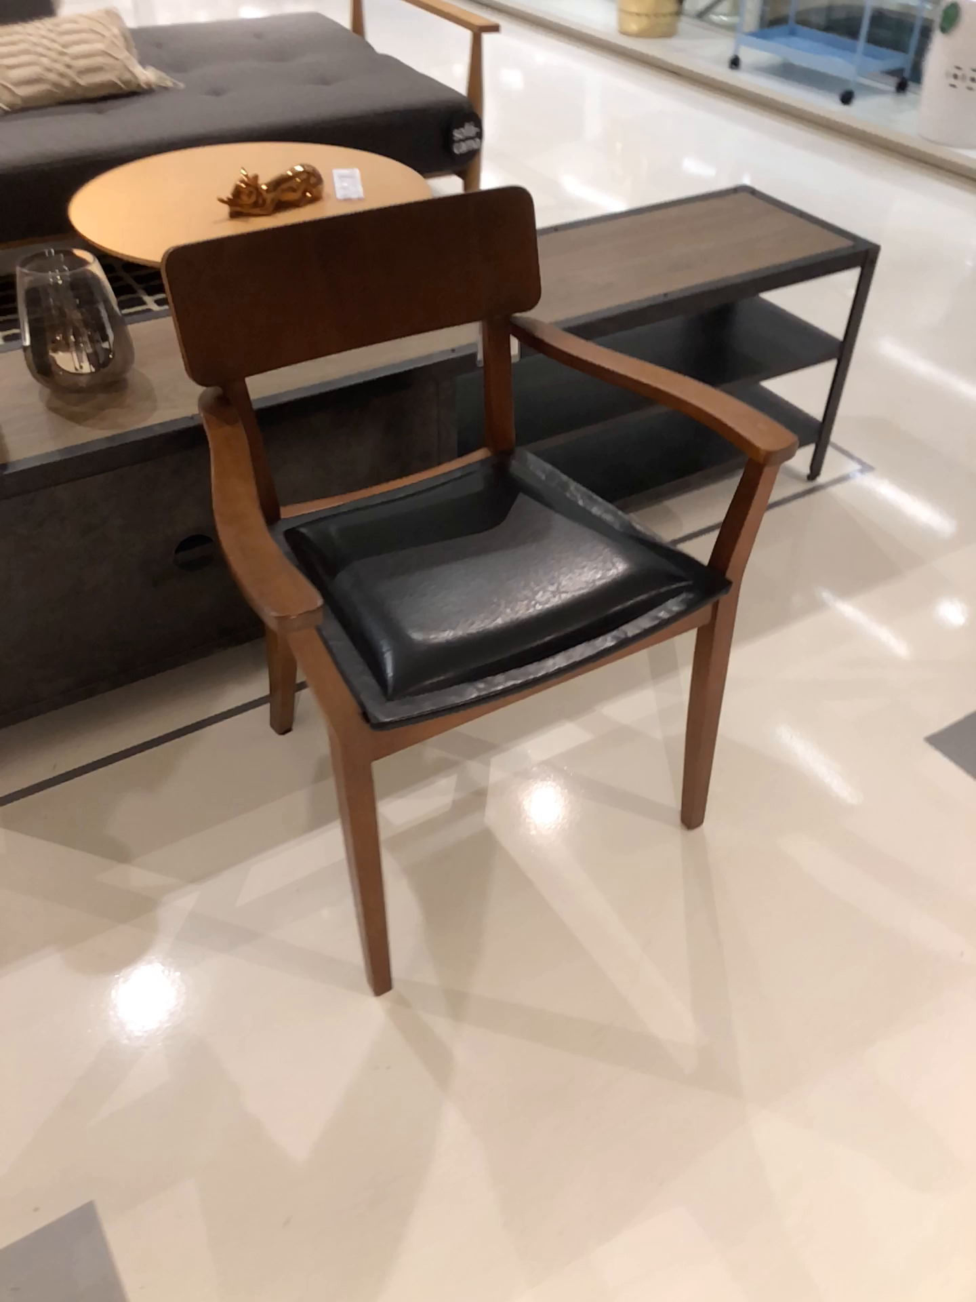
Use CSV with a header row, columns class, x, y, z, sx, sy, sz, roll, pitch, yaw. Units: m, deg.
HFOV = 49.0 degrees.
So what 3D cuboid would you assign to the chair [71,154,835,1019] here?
class,x,y,z,sx,sy,sz,roll,pitch,yaw
chair,-0.065,-0.101,1.326,0.562,0.744,0.573,-22,46,-24
